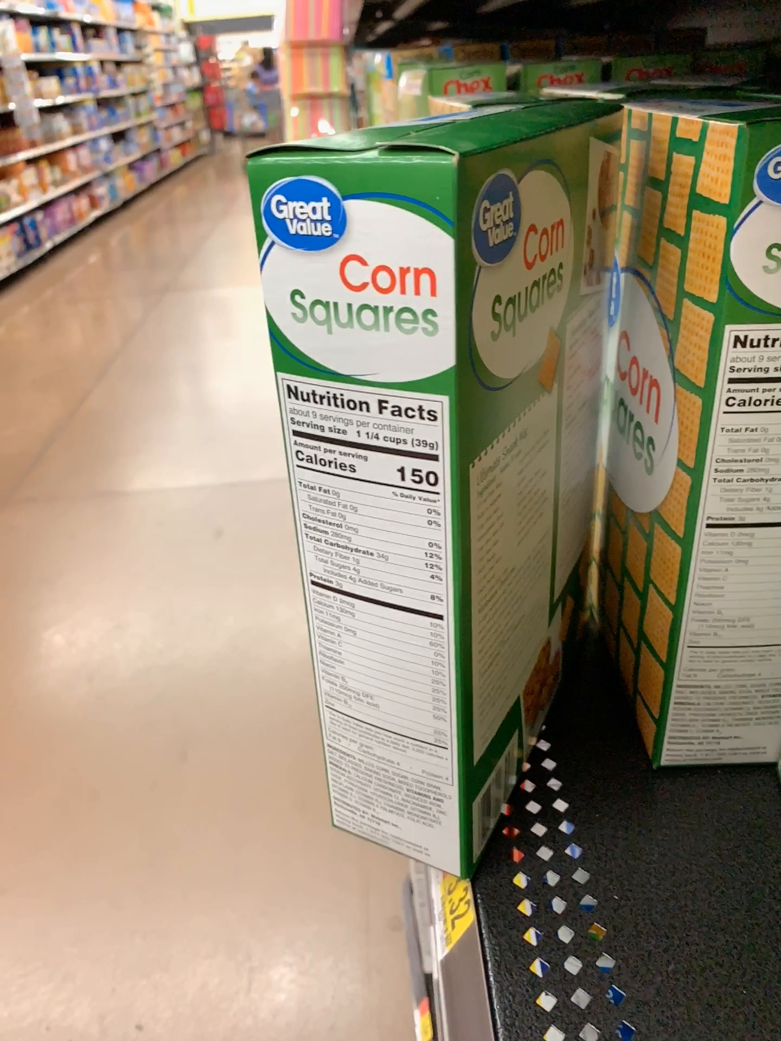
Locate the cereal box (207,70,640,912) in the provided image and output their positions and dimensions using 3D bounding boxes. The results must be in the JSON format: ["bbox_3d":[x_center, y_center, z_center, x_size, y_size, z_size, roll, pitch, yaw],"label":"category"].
[{"bbox_3d":[0.037,-0.021,0.348,0.070,0.288,0.201,11,33,25],"label":"cereal box"}]
